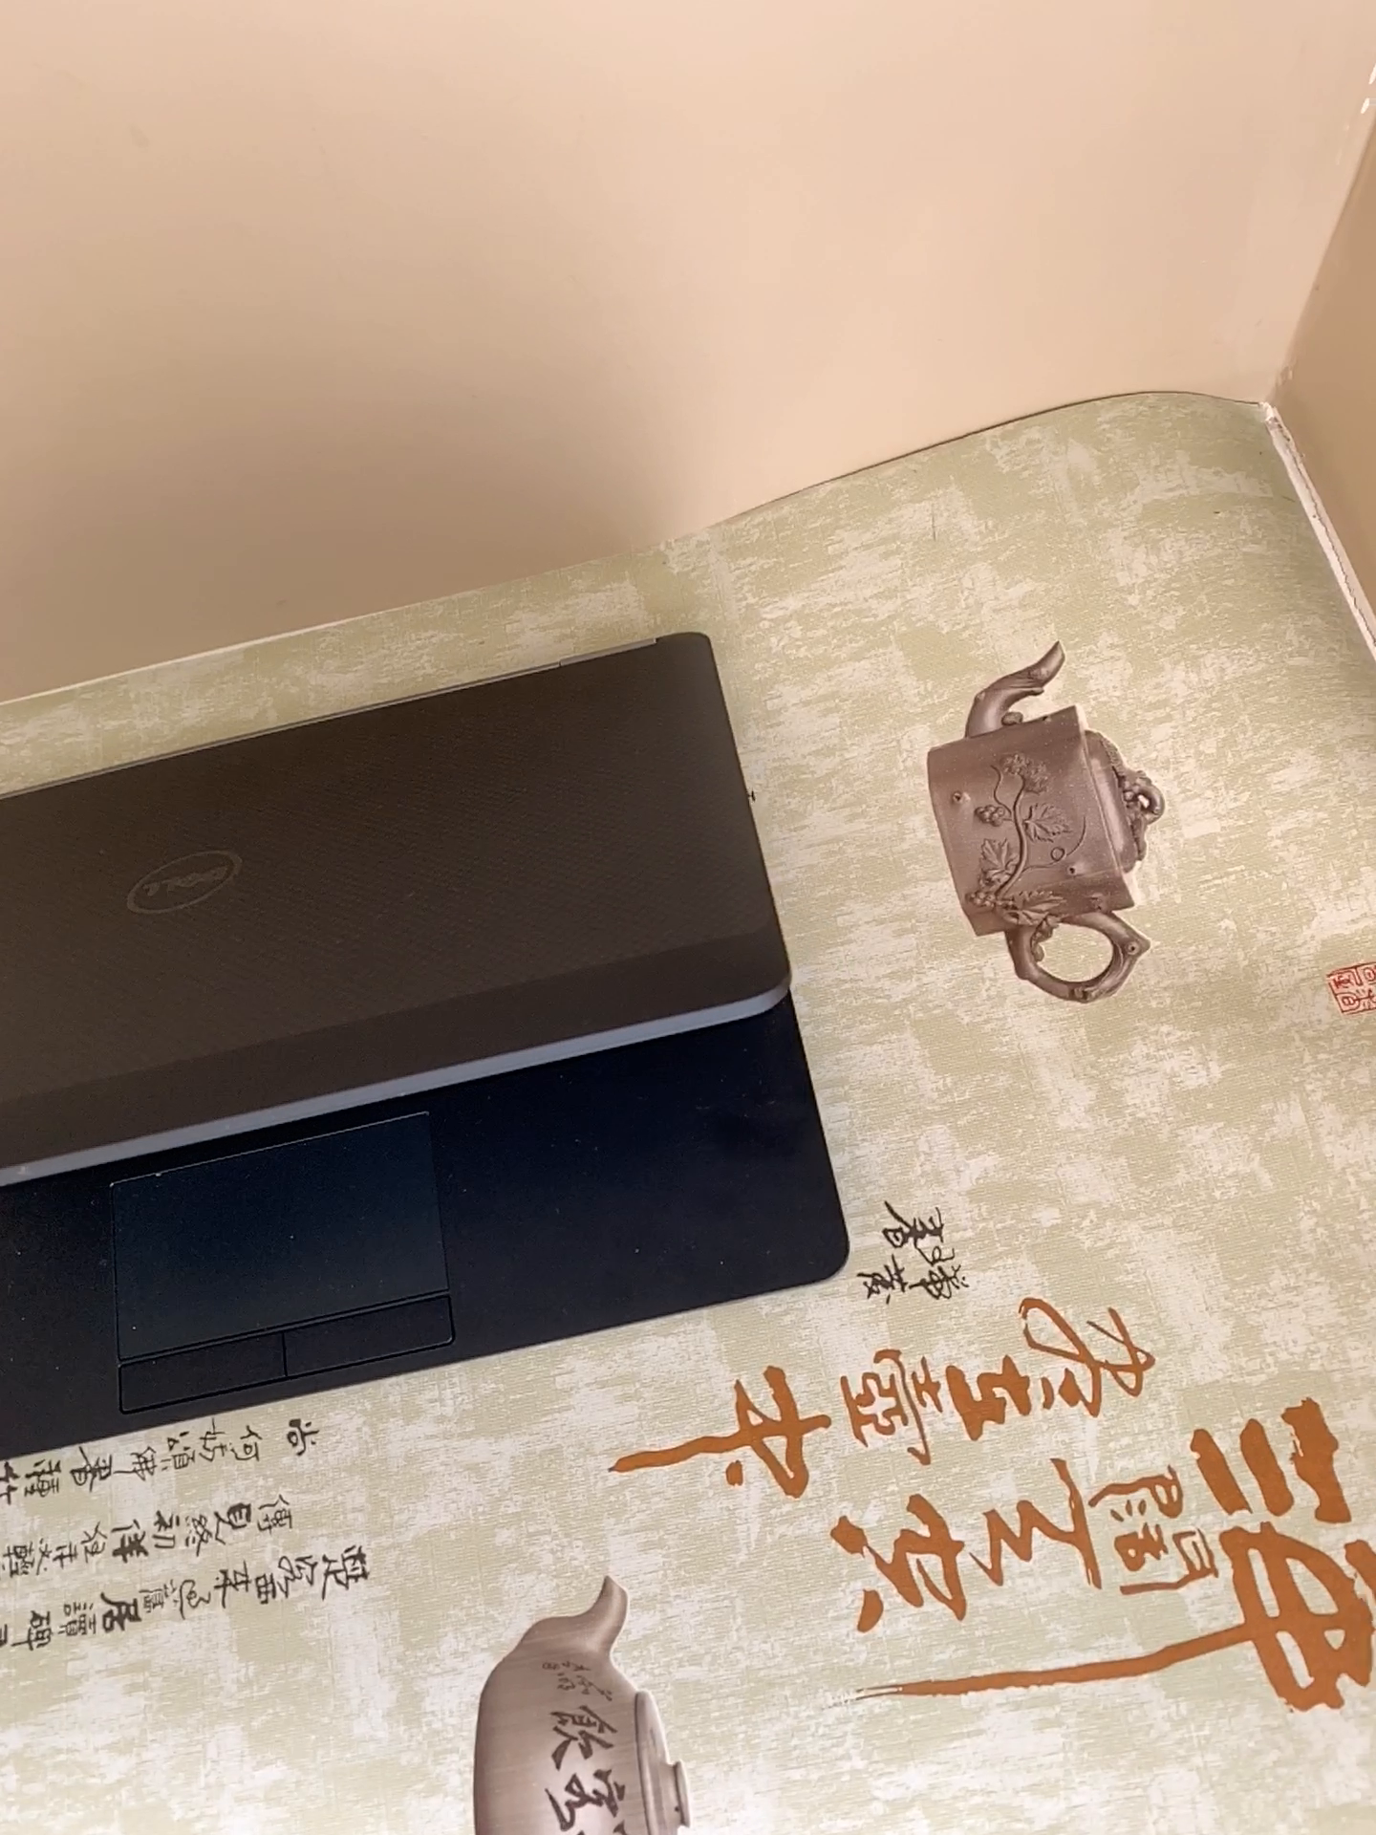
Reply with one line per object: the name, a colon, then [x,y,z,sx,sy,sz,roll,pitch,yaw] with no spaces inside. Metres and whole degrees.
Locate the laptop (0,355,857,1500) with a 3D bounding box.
laptop: [-0.132,0.013,0.383,0.308,0.136,0.212,-13,67,3]
